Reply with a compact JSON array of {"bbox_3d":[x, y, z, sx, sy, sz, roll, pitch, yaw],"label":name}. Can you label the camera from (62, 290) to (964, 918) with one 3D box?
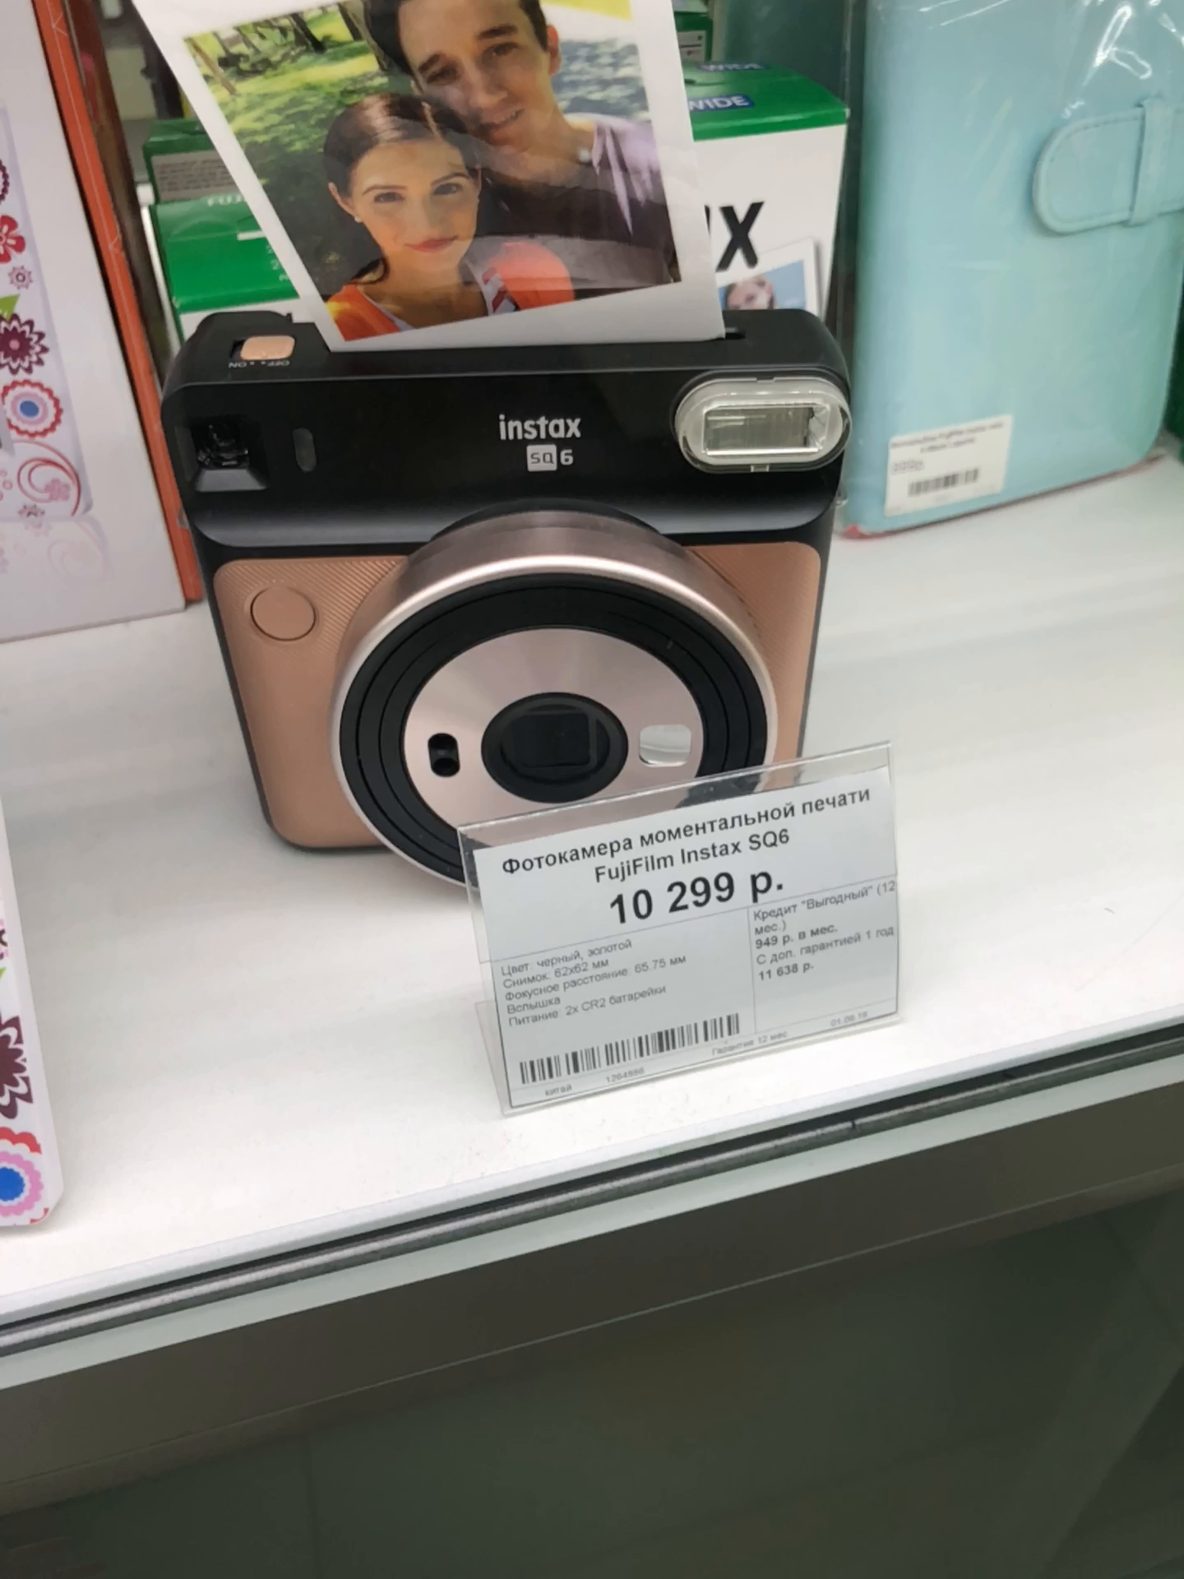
[{"bbox_3d":[-0.013,-0.034,0.263,0.140,0.104,0.060,-2,43,-2],"label":"camera"}]
